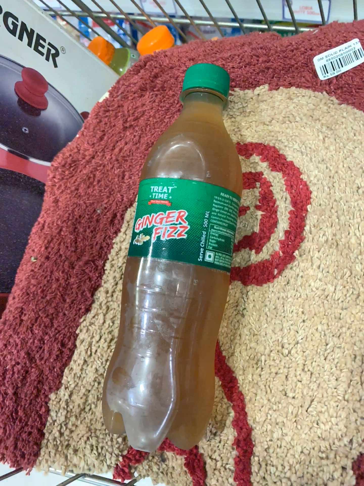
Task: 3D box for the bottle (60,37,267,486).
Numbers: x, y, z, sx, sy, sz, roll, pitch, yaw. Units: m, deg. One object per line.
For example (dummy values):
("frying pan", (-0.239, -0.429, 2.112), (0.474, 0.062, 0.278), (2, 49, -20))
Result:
("bottle", (-0.004, 0.005, 0.229), (0.070, 0.070, 0.220), (7, 86, 23))
